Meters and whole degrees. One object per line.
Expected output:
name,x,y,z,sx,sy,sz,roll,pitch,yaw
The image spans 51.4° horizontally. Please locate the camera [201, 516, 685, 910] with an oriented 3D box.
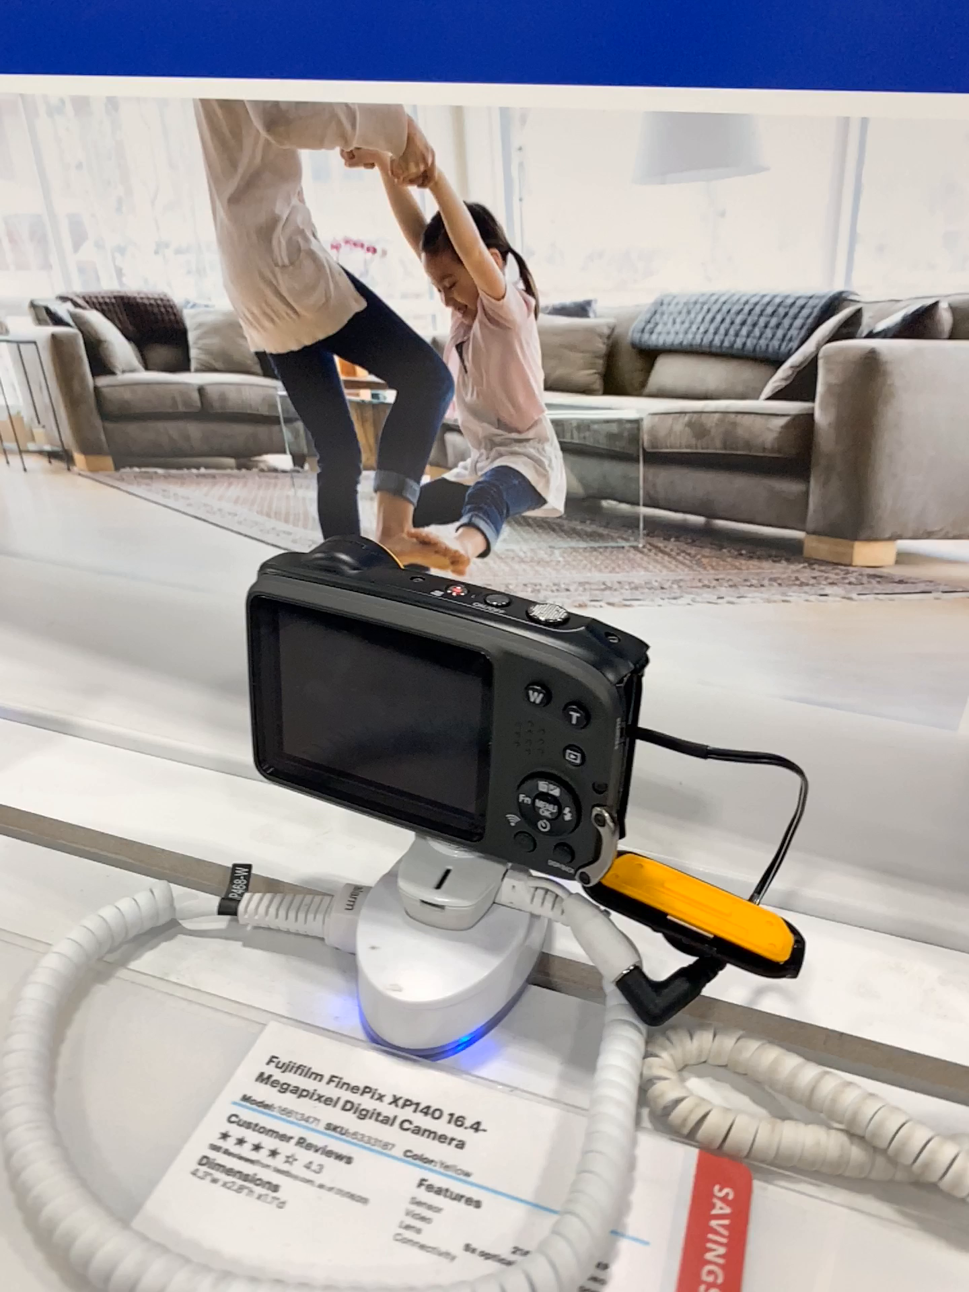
camera,-0.013,0.013,0.255,0.110,0.060,0.040,16,27,17
